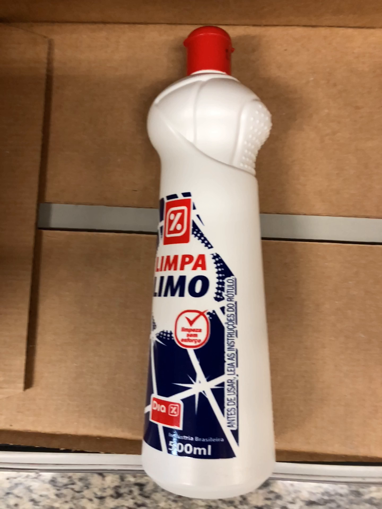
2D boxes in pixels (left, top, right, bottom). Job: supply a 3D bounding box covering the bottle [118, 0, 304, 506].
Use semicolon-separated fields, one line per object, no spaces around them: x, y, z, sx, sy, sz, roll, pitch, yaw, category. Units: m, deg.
0.008;-0.020;0.223;0.080;0.060;0.260;-1;85;3;bottle
